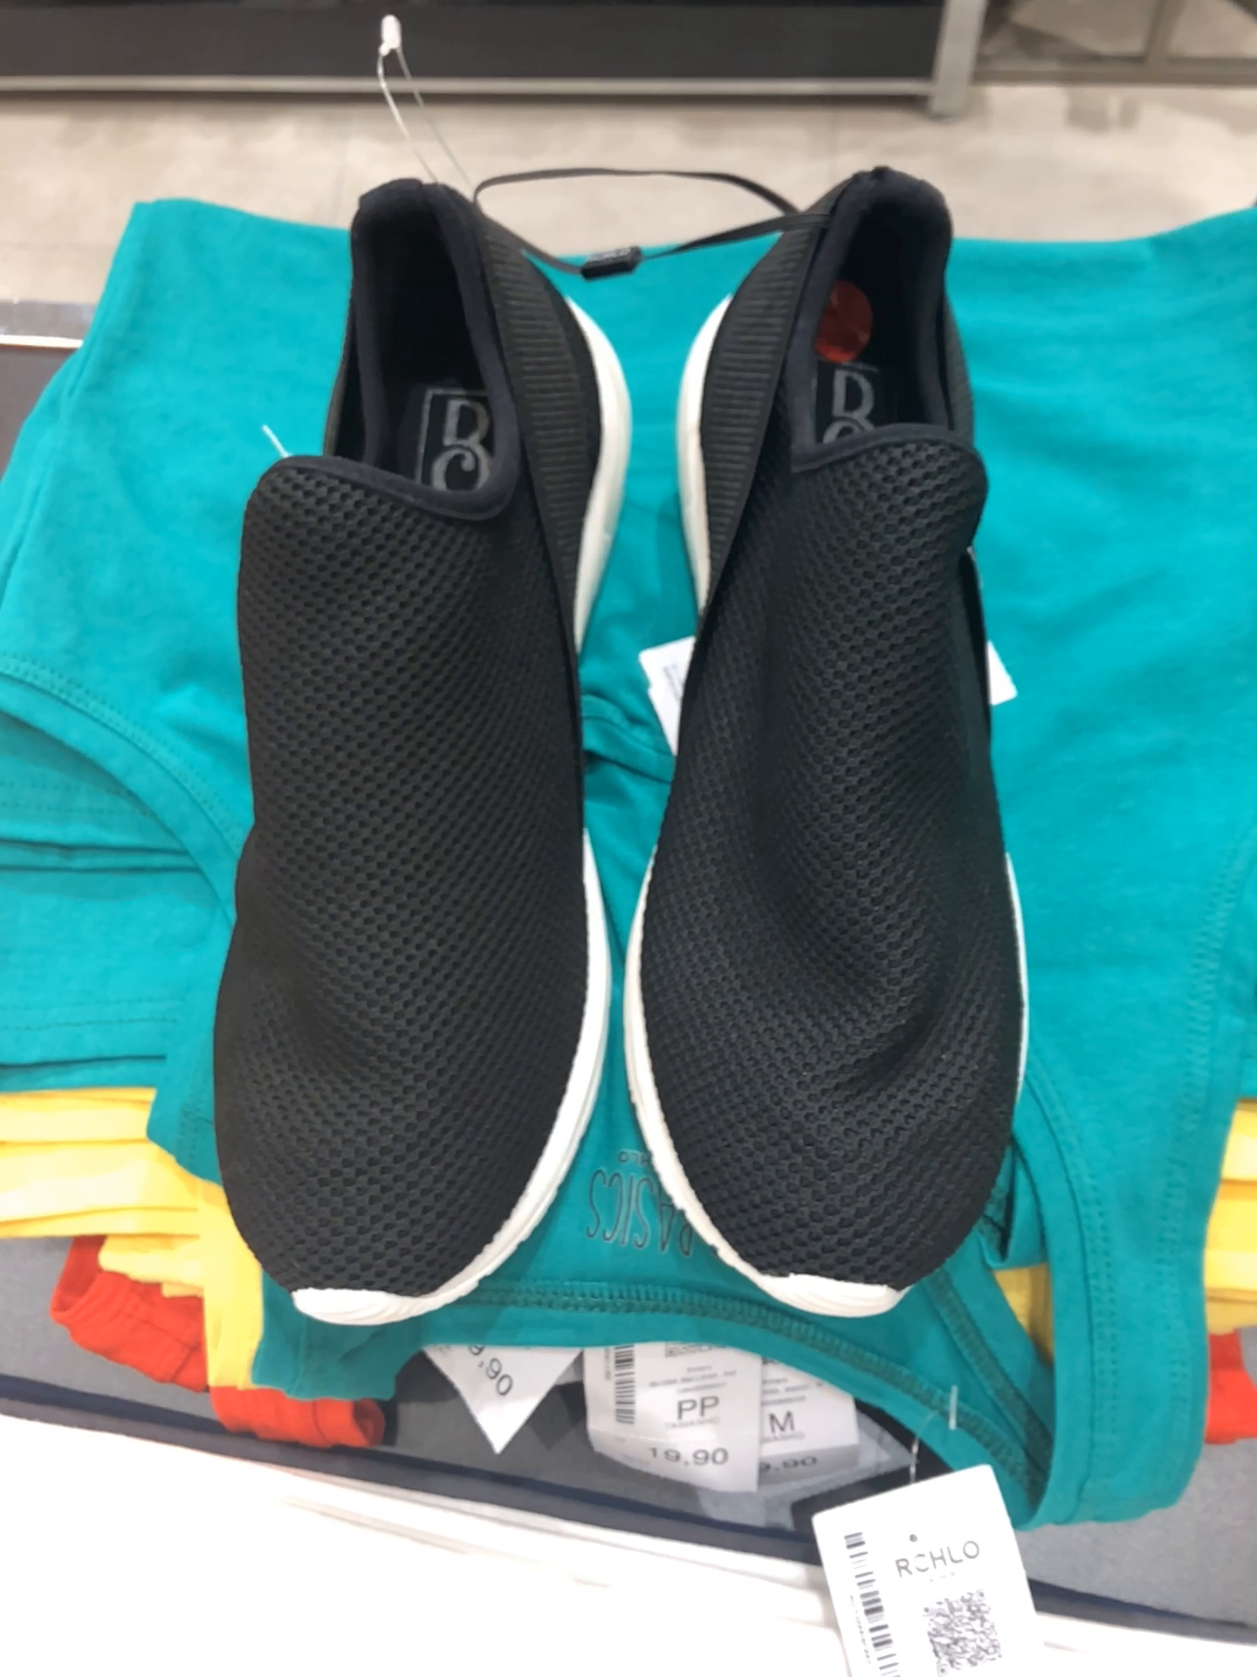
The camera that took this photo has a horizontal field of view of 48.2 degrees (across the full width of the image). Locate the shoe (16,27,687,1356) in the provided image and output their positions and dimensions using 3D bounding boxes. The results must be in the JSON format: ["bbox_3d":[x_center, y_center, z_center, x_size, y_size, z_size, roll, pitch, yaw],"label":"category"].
[{"bbox_3d":[-0.039,-0.029,0.313,0.090,0.120,0.261,2,72,4],"label":"shoe"}]

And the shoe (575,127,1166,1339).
[{"bbox_3d":[0.048,-0.020,0.316,0.090,0.120,0.241,2,69,4],"label":"shoe"}]
